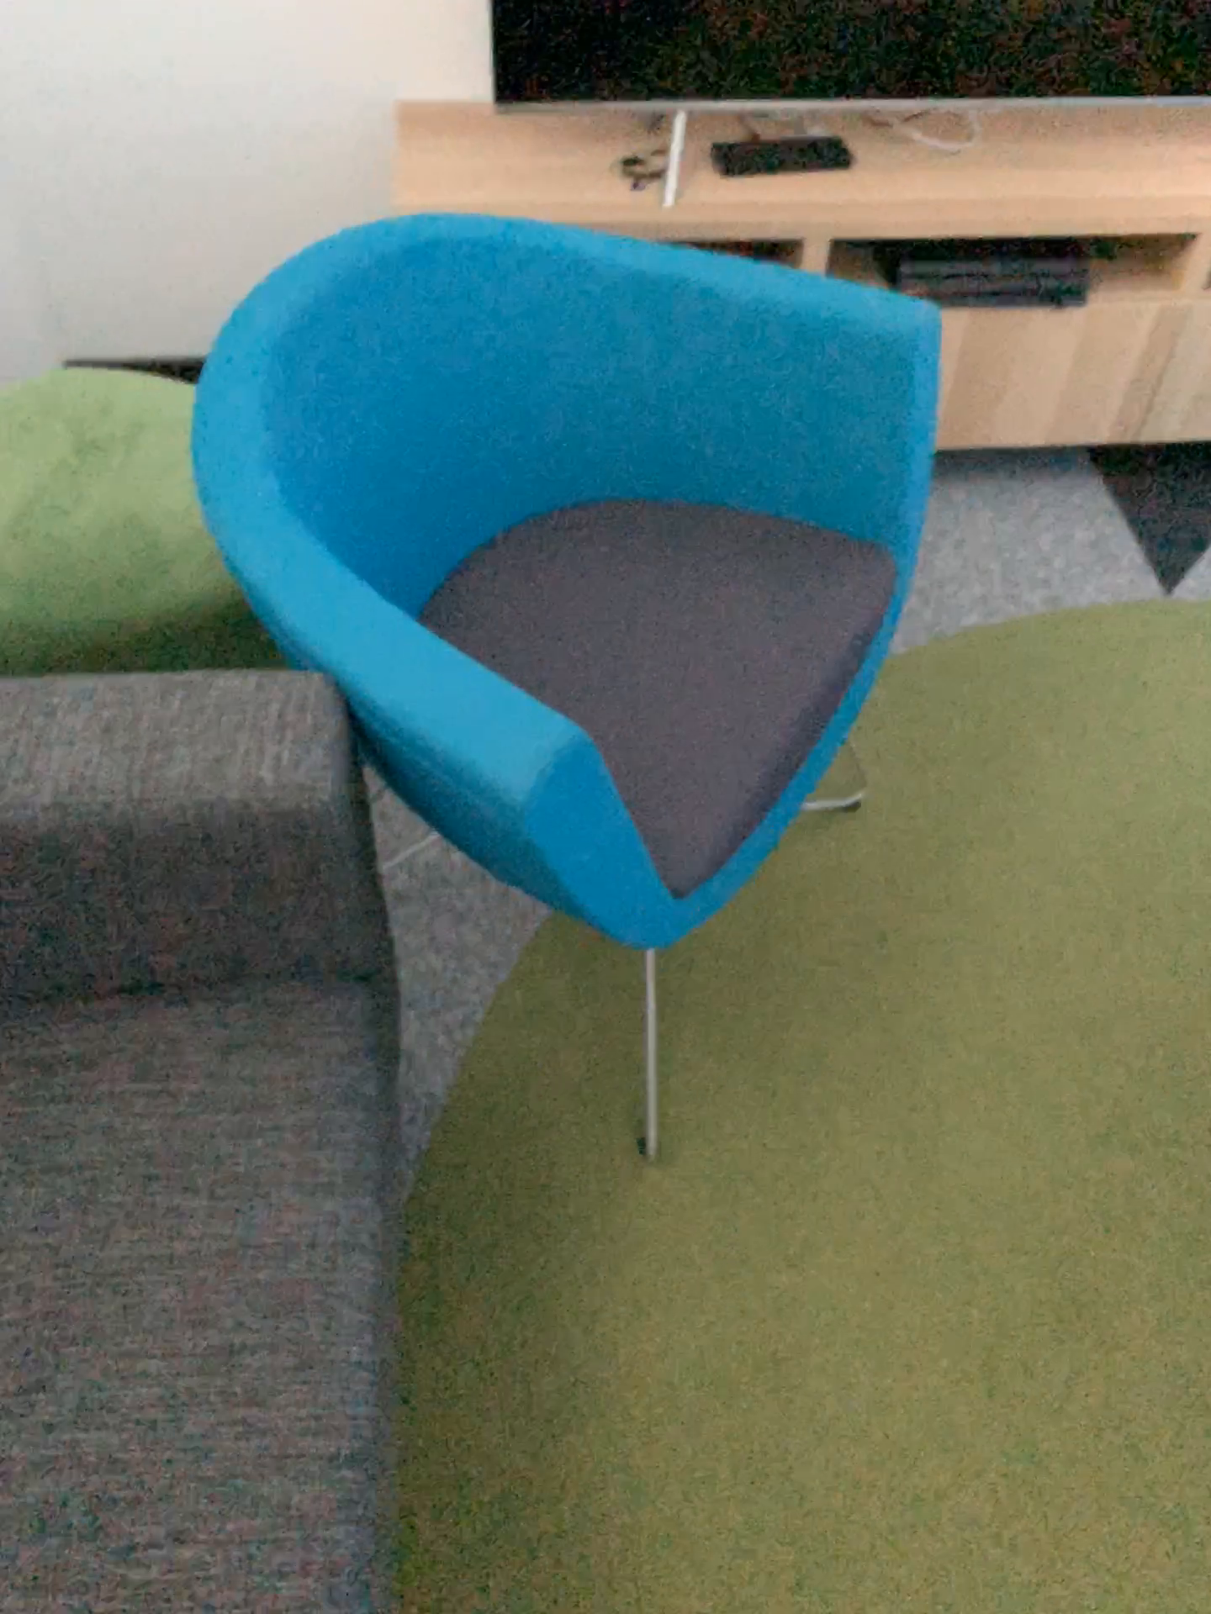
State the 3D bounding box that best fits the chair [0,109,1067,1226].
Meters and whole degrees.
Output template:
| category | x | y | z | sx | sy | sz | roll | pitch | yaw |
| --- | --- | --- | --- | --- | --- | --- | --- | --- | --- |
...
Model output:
| category | x | y | z | sx | sy | sz | roll | pitch | yaw |
| --- | --- | --- | --- | --- | --- | --- | --- | --- | --- |
| chair | -0.031 | -0.166 | 1.321 | 0.620 | 0.687 | 0.763 | 24 | 54 | 17 |
